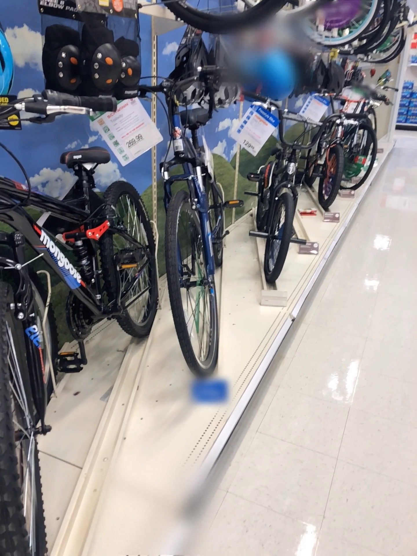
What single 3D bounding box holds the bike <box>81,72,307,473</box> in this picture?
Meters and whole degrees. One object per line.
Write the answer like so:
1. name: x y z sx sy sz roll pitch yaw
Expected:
1. bike: -0.026 -0.279 2.064 0.529 1.098 1.747 3 26 1
